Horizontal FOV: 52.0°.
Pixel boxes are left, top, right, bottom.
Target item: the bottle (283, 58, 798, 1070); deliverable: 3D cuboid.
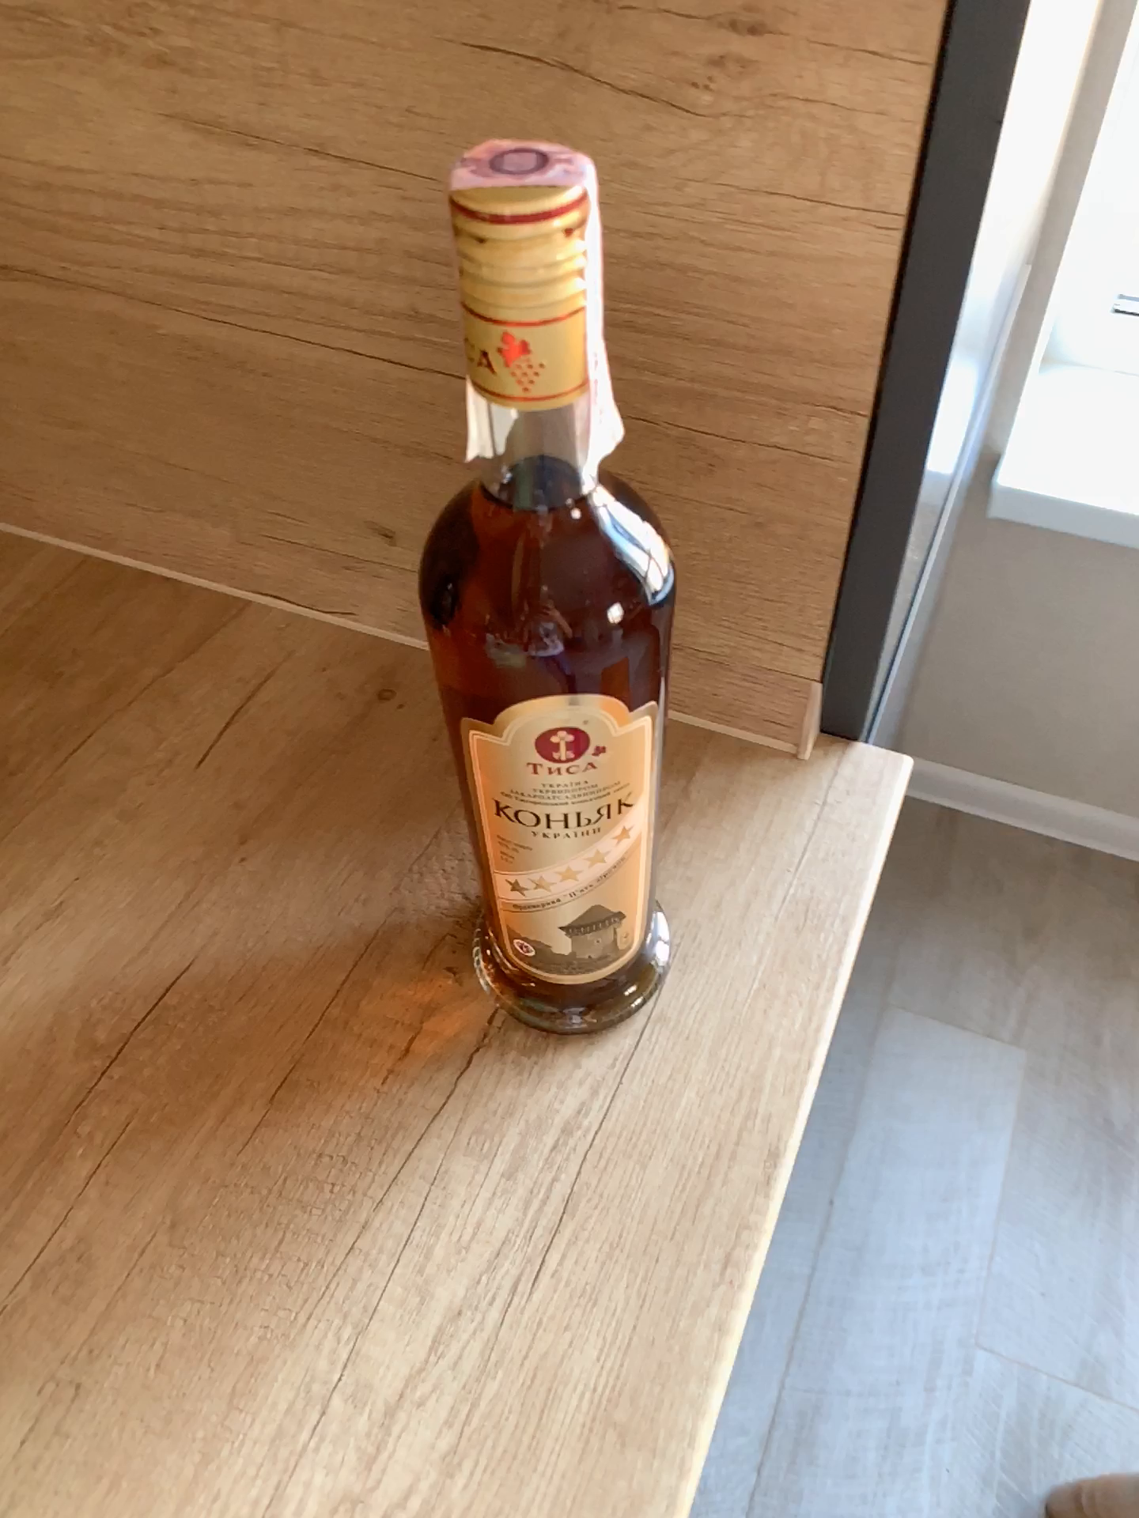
[{"bbox_3d":[-0.003,-0.016,0.309,0.080,0.279,0.070,-4,49,-1],"label":"bottle"}]
